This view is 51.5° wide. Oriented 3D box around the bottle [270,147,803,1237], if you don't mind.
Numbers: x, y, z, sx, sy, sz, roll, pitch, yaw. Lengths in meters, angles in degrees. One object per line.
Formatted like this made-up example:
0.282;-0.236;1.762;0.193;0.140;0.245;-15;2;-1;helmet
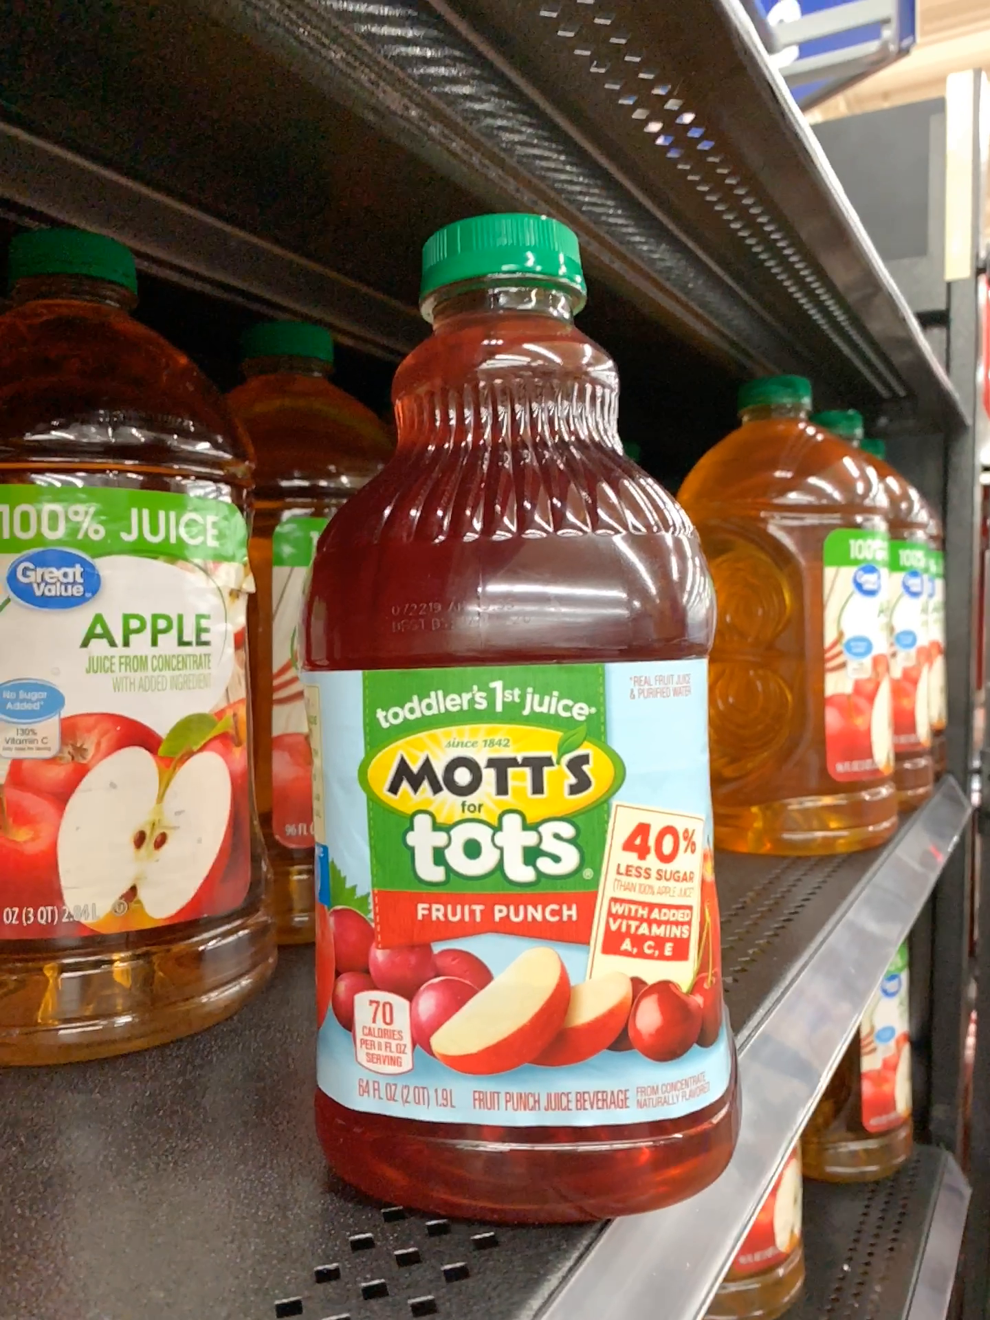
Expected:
0.010;0.007;0.290;0.120;0.250;0.110;0;2;0;bottle
